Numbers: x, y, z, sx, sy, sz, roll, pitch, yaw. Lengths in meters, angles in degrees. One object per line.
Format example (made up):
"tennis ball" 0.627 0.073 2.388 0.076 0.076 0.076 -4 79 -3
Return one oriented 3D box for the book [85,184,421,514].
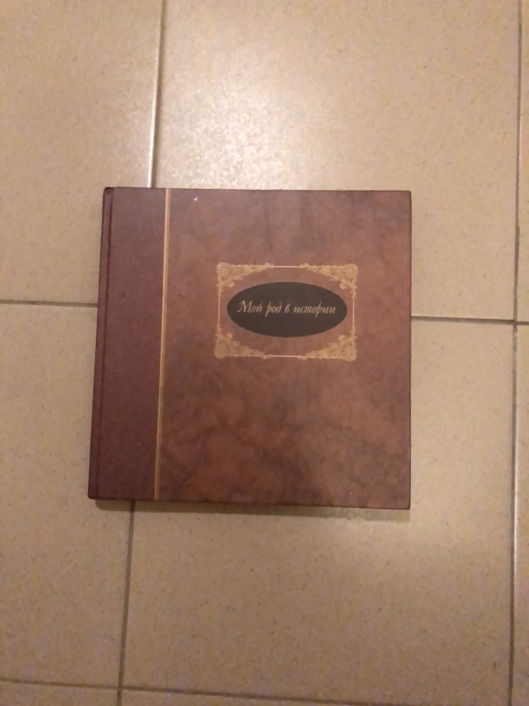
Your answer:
"book" -0.008 -0.006 0.453 0.244 0.038 0.244 0 83 4
